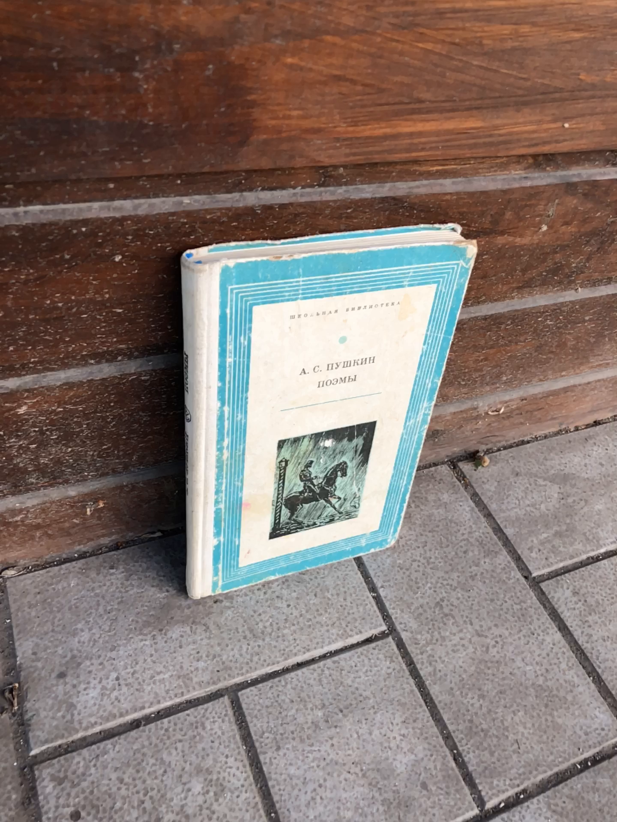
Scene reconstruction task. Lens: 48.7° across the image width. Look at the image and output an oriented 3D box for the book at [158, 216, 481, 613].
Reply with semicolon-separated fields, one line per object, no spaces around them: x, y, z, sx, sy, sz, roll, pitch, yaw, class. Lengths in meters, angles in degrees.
-0.001;0.007;0.330;0.130;0.189;0.030;-11;39;-22;book
